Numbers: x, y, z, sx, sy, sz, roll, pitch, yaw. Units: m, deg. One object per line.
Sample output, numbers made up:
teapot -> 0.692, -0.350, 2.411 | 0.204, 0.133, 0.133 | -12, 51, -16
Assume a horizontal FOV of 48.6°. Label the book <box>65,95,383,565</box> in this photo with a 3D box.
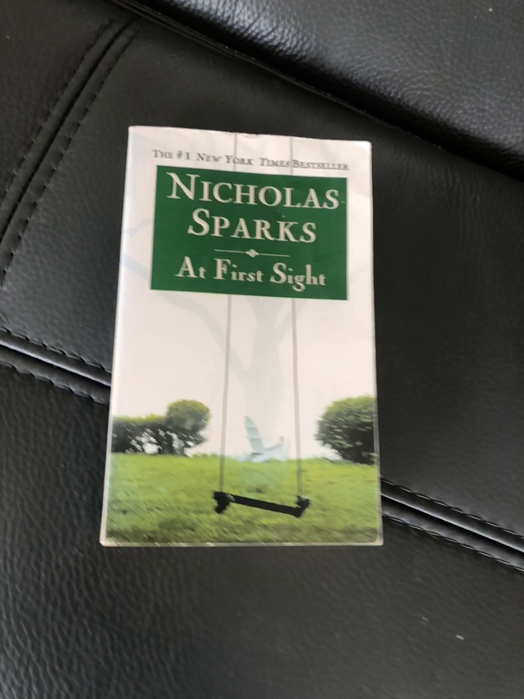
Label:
book -> -0.012, -0.010, 0.252 | 0.120, 0.030, 0.190 | 3, 78, -9
